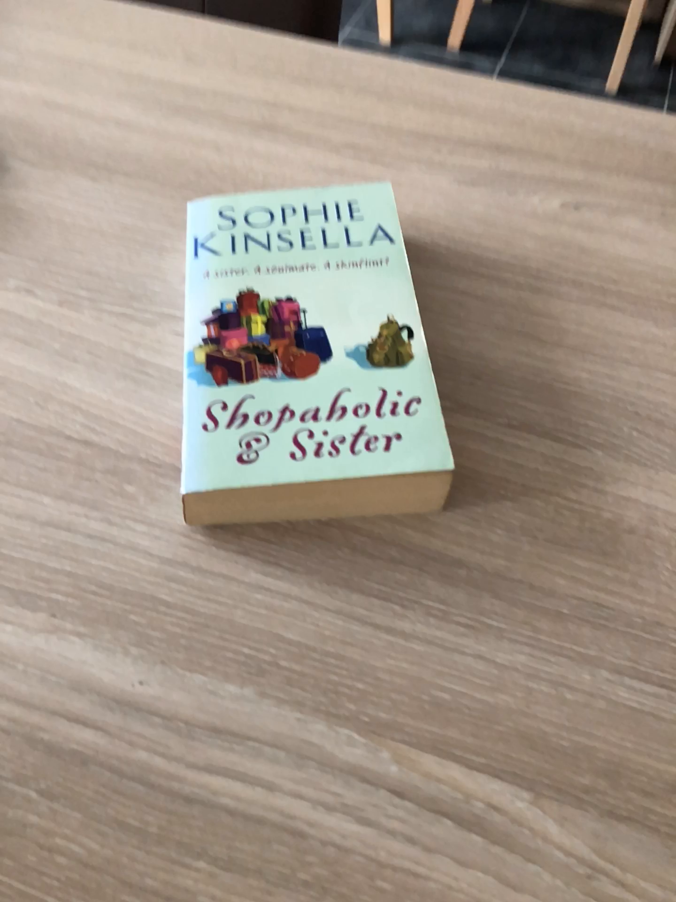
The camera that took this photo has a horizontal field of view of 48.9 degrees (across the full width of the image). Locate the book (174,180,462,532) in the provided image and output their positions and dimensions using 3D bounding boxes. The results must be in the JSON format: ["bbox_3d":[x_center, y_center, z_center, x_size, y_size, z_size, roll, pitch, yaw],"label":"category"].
[{"bbox_3d":[-0.015,-0.054,0.341,0.107,0.032,0.181,-4,54,-3],"label":"book"}]
